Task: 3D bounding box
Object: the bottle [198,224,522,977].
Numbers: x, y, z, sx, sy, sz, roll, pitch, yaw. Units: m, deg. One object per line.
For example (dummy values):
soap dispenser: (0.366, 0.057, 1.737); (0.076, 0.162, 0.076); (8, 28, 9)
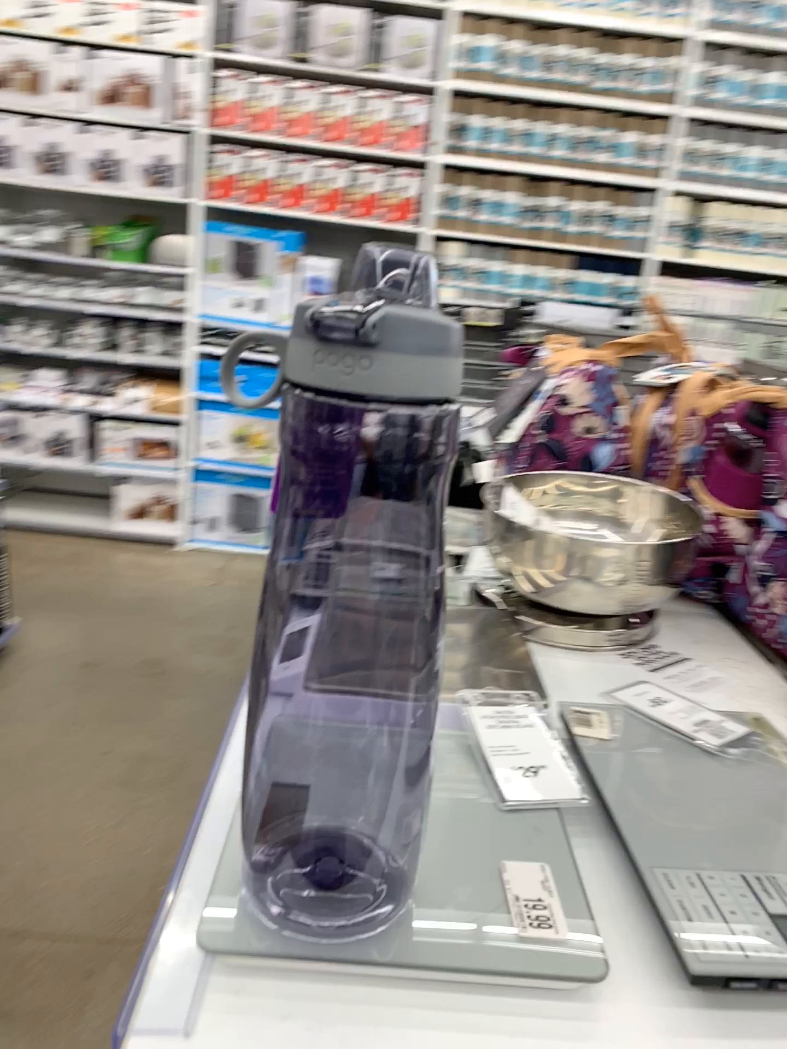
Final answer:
bottle: (-0.017, 0.035, 0.370); (0.100, 0.309, 0.100); (6, 16, -2)
